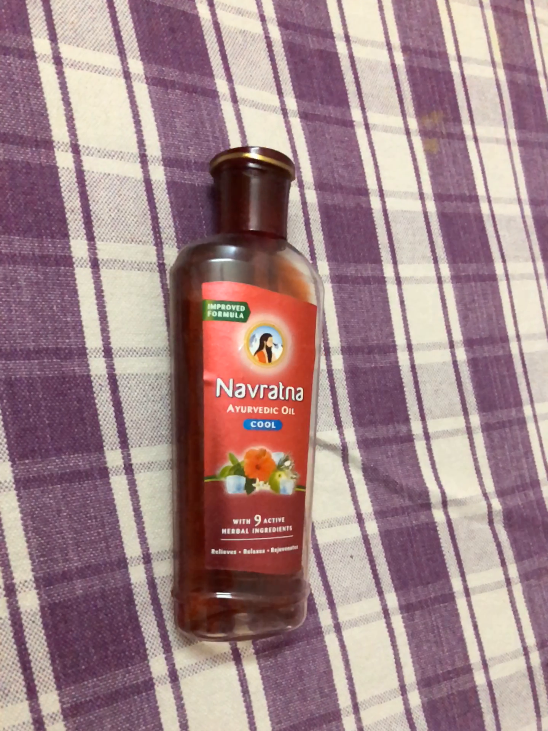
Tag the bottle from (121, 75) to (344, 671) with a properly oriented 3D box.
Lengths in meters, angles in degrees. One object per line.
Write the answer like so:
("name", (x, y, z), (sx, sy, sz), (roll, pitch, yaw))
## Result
("bottle", (-0.016, 0.001, 0.242), (0.070, 0.050, 0.200), (4, 83, -27))
